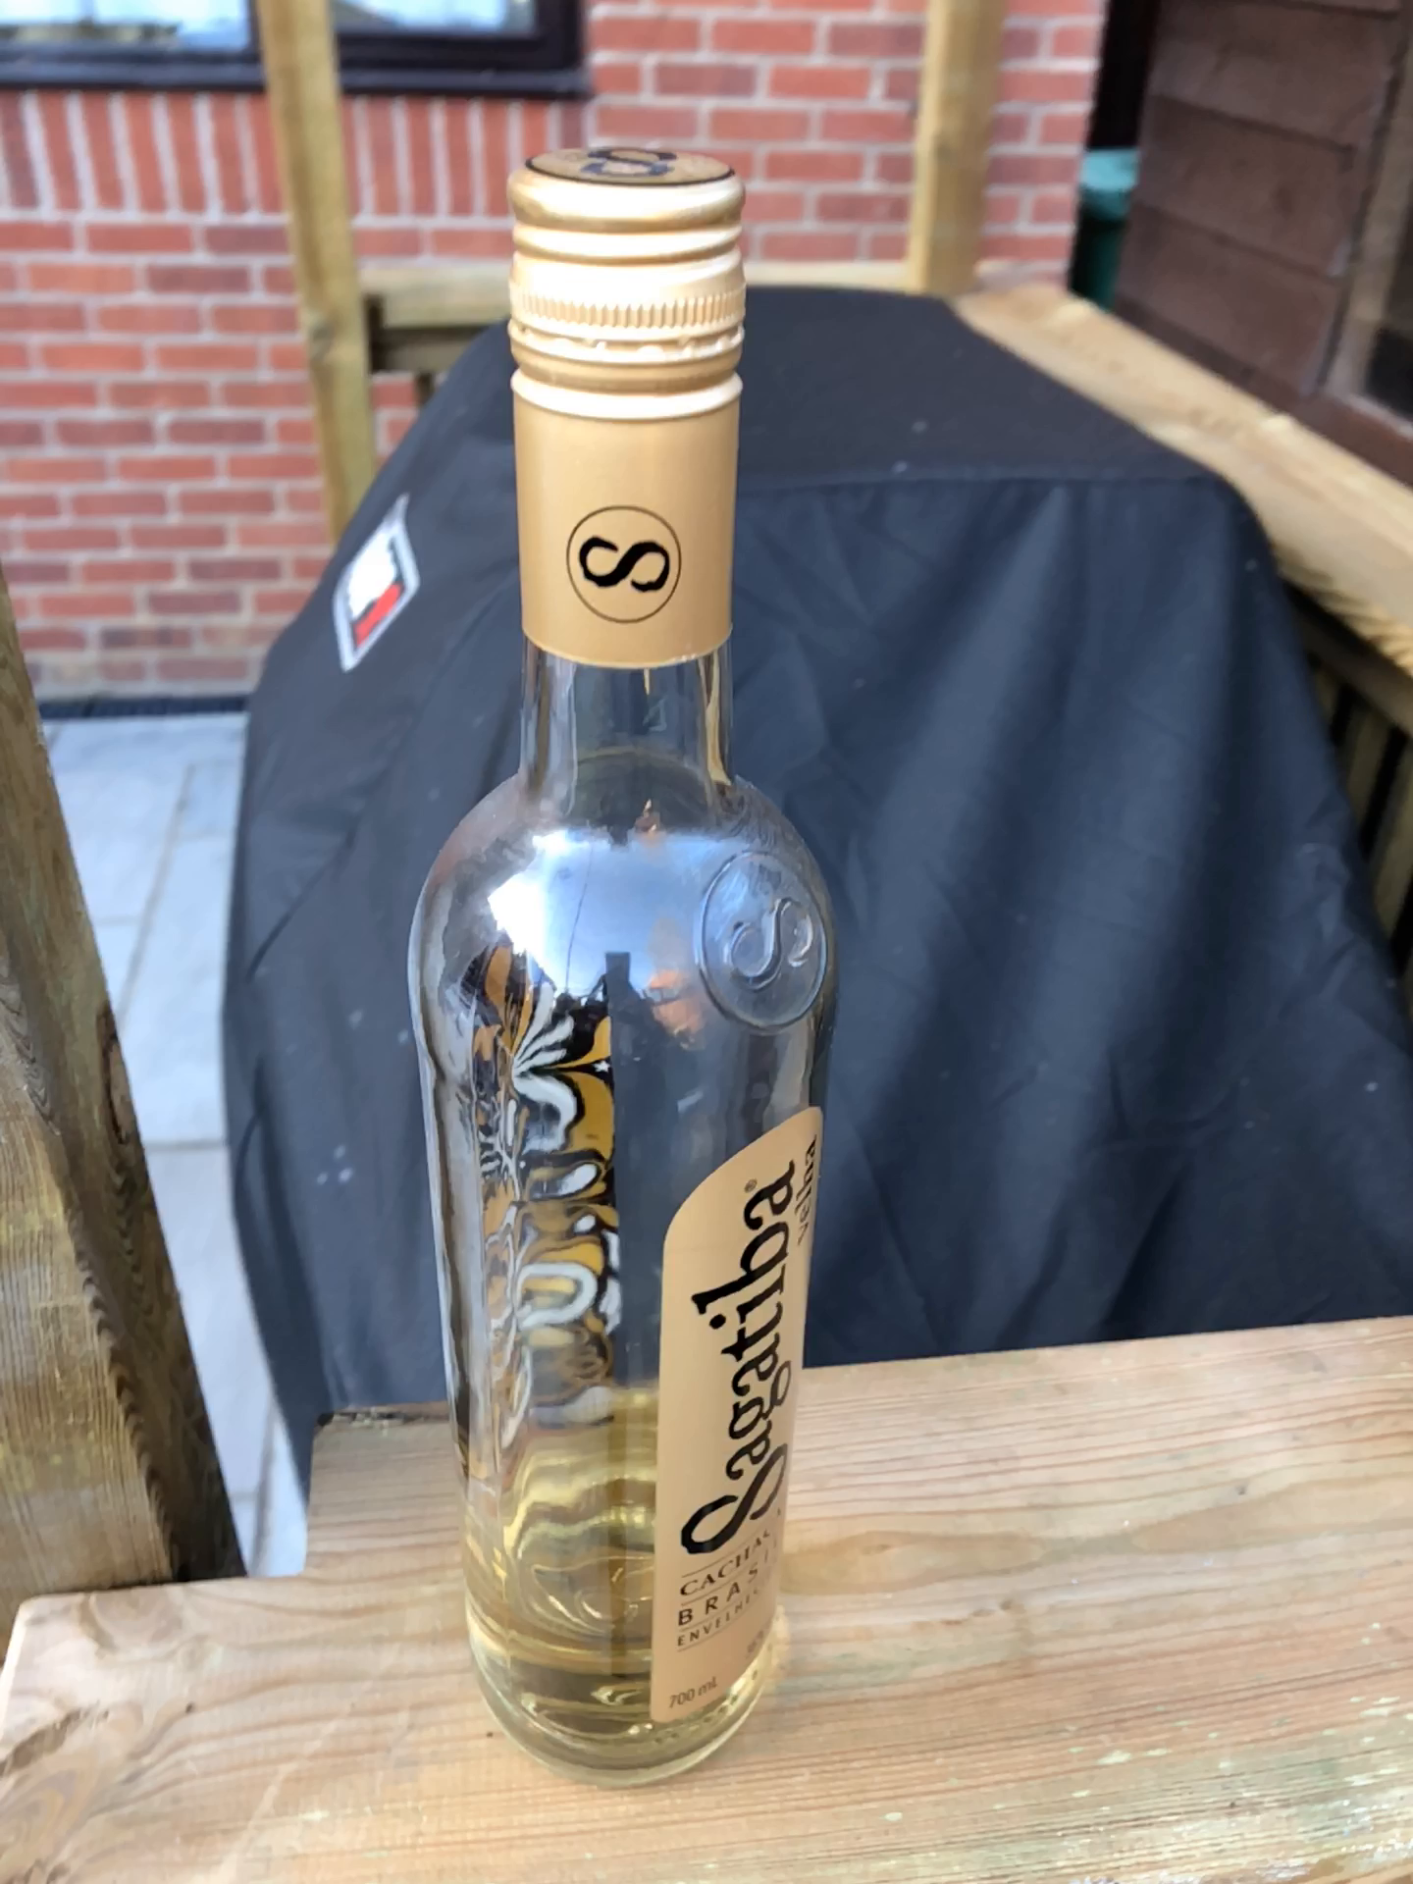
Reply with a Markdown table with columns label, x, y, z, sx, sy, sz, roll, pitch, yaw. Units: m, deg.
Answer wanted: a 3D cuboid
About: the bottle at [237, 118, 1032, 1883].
| label | x | y | z | sx | sy | sz | roll | pitch | yaw |
| --- | --- | --- | --- | --- | --- | --- | --- | --- | --- |
| bottle | -0.012 | 0.039 | 0.285 | 0.080 | 0.327 | 0.060 | -24 | 40 | -34 |
